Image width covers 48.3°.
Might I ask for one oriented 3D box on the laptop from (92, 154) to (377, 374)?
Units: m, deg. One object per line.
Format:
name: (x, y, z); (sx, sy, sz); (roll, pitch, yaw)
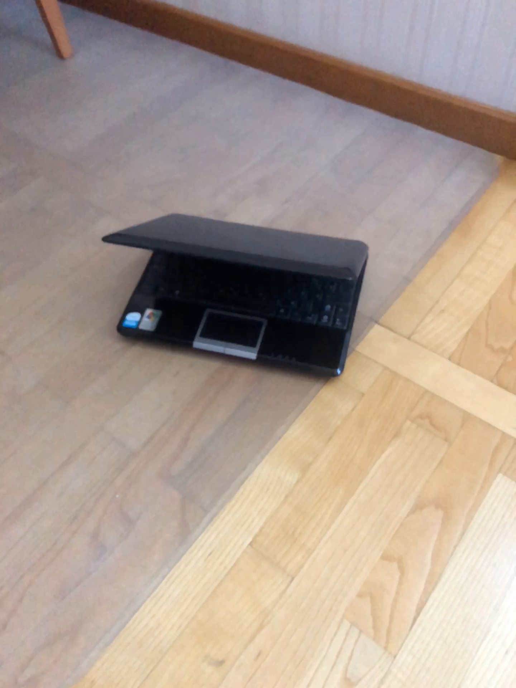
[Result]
laptop: (-0.017, -0.096, 0.653); (0.263, 0.102, 0.183); (10, 57, 10)
